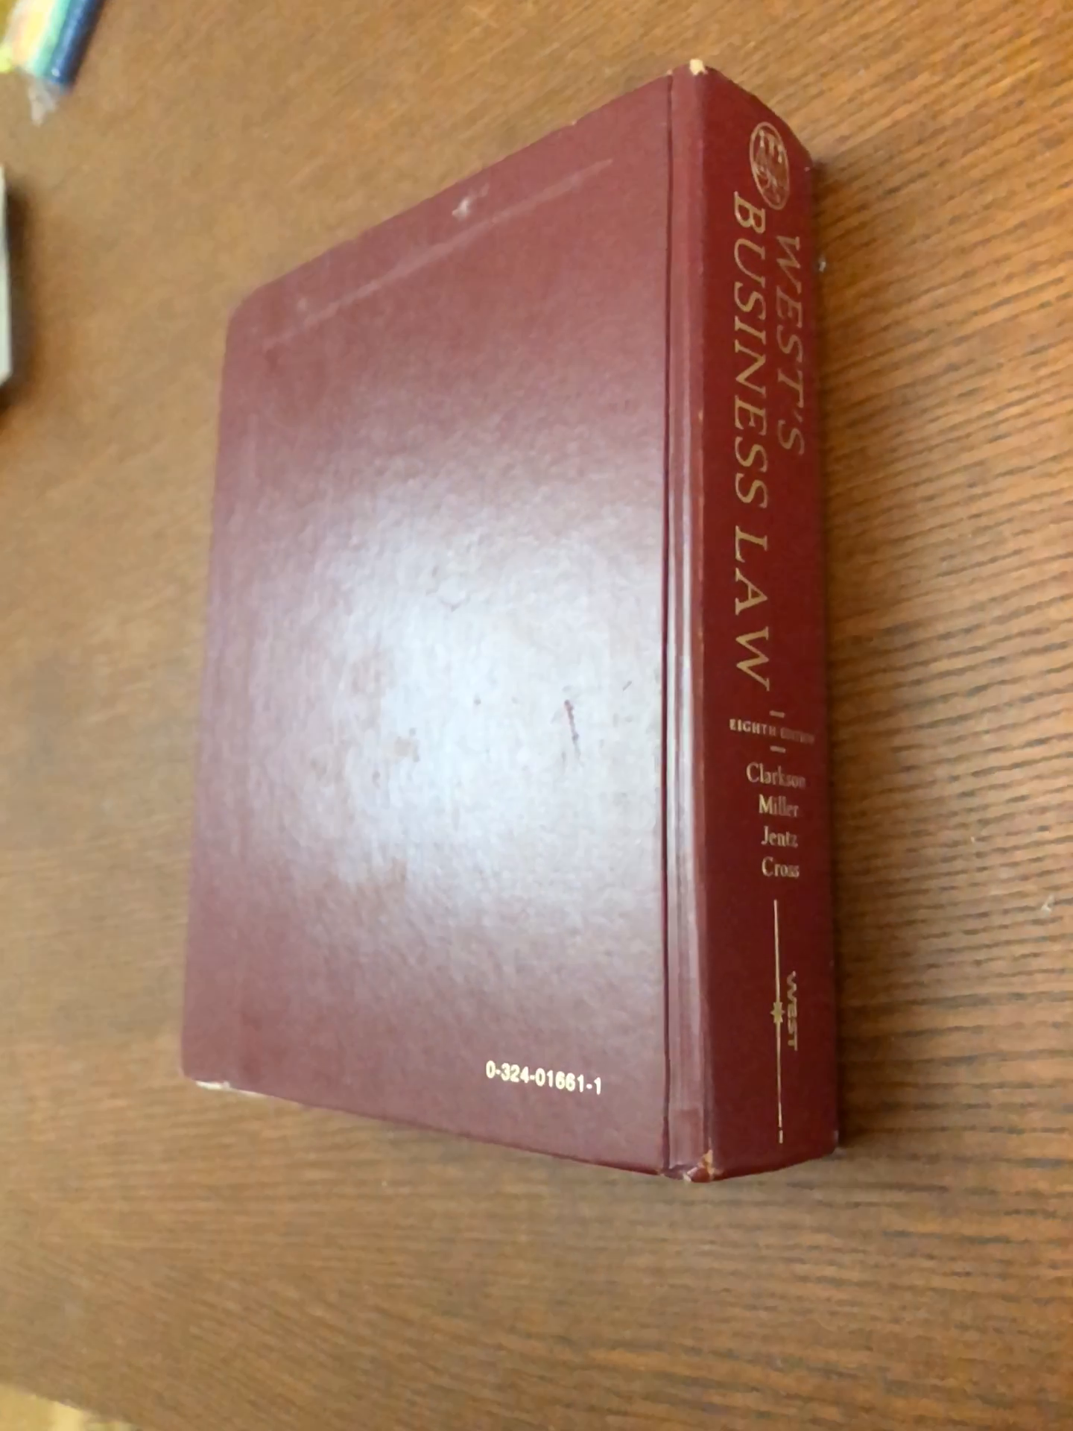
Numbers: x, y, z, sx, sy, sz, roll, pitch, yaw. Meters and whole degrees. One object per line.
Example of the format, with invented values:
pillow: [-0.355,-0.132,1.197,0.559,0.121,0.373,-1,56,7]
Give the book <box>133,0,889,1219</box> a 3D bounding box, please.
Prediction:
book: [-0.018,-0.030,0.356,0.221,0.070,0.290,-7,77,41]
